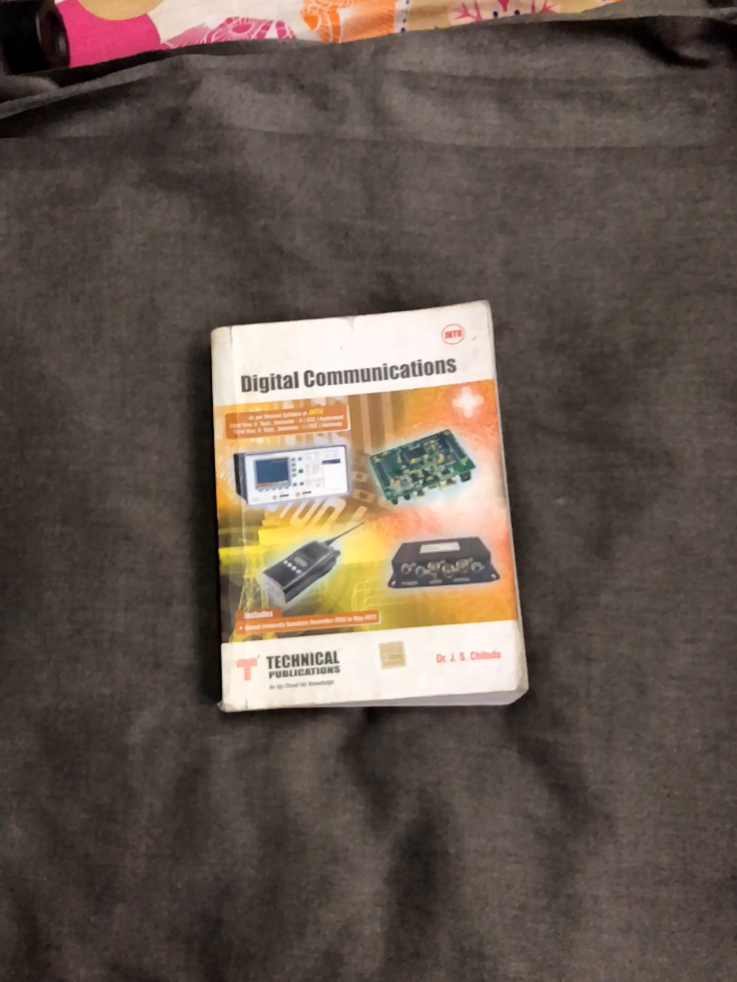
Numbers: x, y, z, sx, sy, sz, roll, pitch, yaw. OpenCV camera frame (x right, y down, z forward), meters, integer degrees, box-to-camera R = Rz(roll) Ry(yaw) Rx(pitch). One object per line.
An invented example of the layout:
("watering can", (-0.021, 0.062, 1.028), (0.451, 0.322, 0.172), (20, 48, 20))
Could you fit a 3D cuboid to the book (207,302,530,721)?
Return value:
("book", (-0.004, 0.013, 0.514), (0.181, 0.050, 0.241), (-4, 79, 5))
